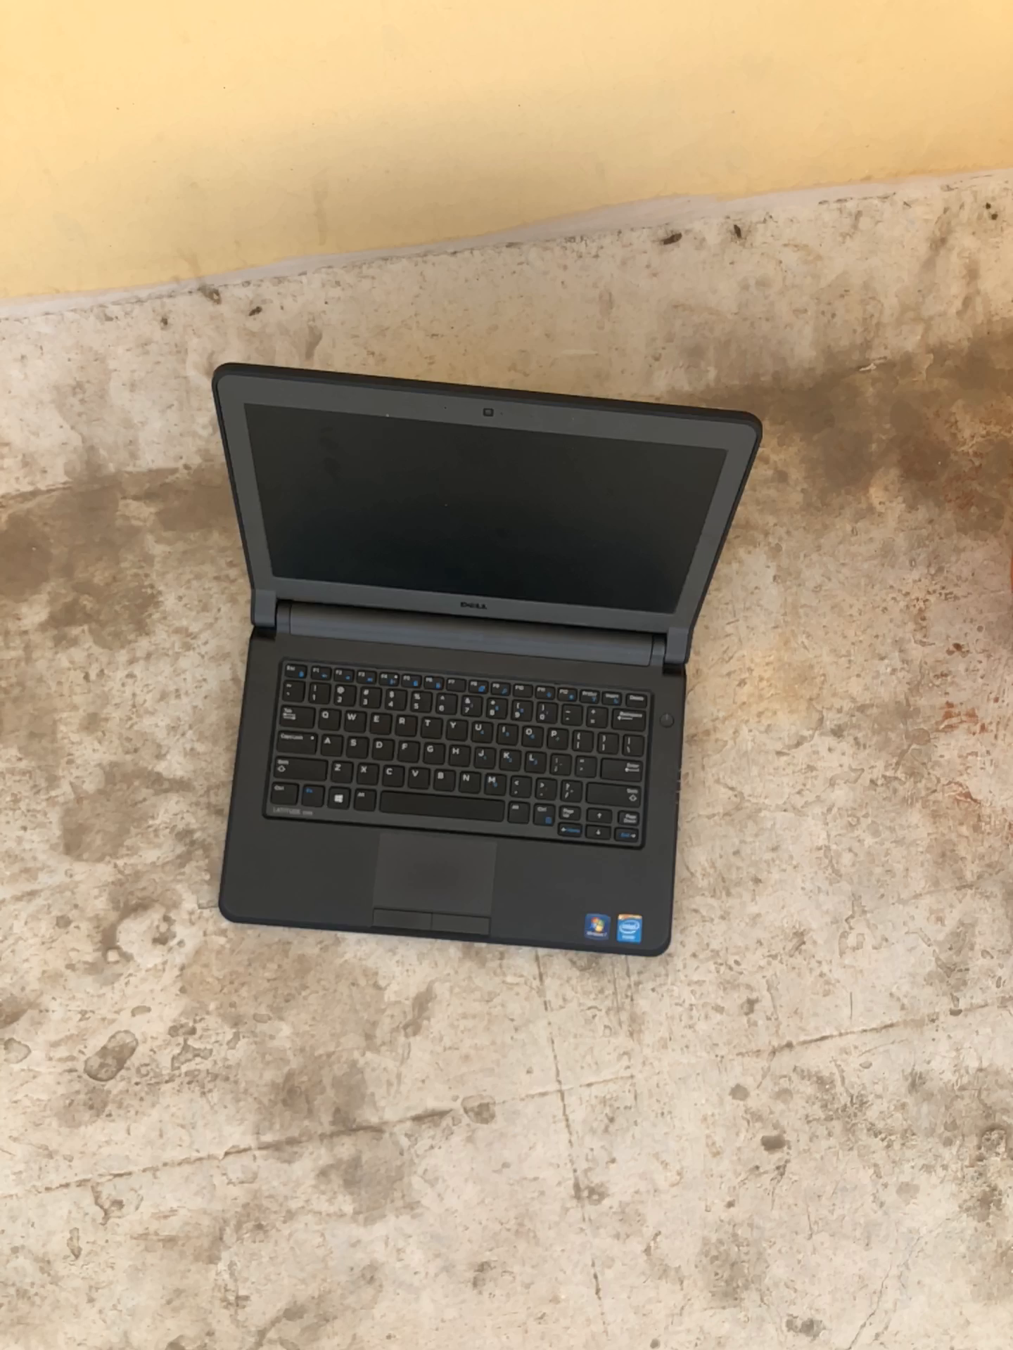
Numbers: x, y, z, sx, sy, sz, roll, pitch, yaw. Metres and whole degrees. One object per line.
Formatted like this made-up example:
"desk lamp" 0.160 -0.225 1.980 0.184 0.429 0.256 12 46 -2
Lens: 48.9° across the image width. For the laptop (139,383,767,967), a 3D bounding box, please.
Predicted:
"laptop" -0.023 0.011 0.702 0.308 0.209 0.299 5 78 0
